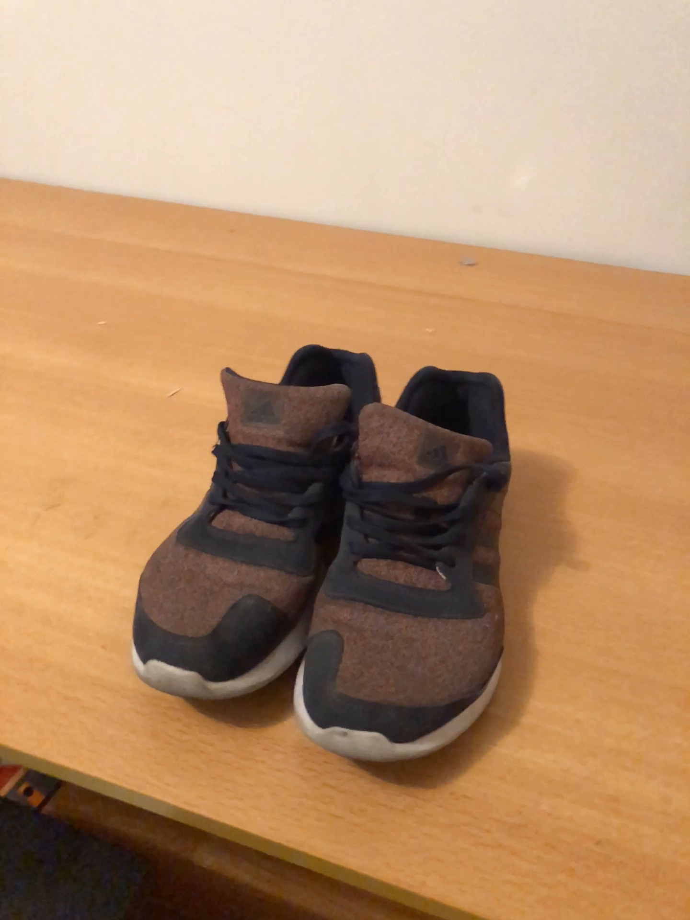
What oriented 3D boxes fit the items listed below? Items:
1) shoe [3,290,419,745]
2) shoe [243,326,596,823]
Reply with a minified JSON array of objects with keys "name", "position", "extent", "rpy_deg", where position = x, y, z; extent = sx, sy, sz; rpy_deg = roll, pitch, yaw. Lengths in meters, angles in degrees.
[{"name":"shoe","position":[-0.054,0.007,0.479],"extent":[0.130,0.099,0.292],"rpy_deg":[12,38,13]},{"name":"shoe","position":[0.058,0.037,0.429],"extent":[0.130,0.099,0.262],"rpy_deg":[12,38,13]}]
